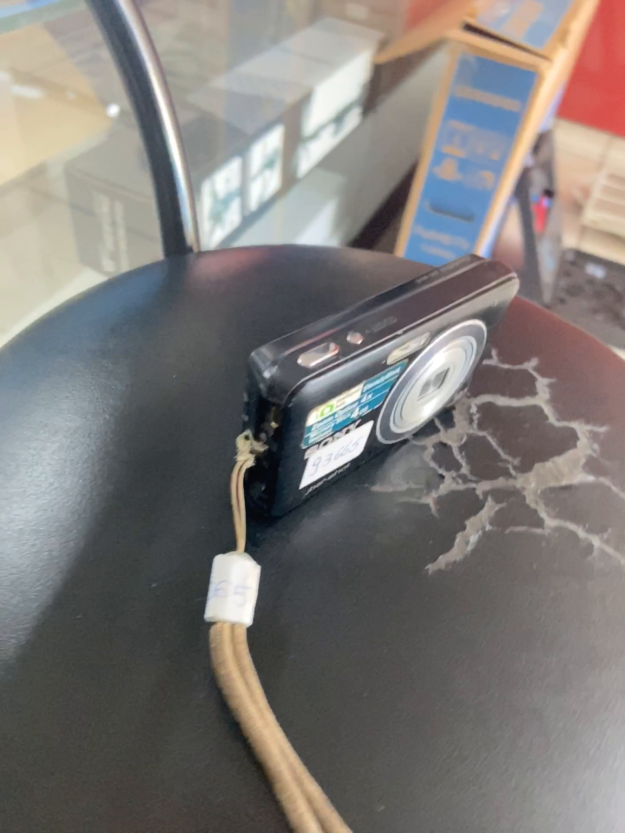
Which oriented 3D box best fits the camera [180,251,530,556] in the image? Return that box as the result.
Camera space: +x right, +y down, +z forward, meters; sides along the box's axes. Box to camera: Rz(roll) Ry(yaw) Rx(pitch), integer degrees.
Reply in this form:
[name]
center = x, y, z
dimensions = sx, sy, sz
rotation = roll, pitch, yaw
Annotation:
[camera]
center = 0.015, -0.007, 0.192
dimensions = 0.110, 0.050, 0.020
rotation = -28, 57, -32
